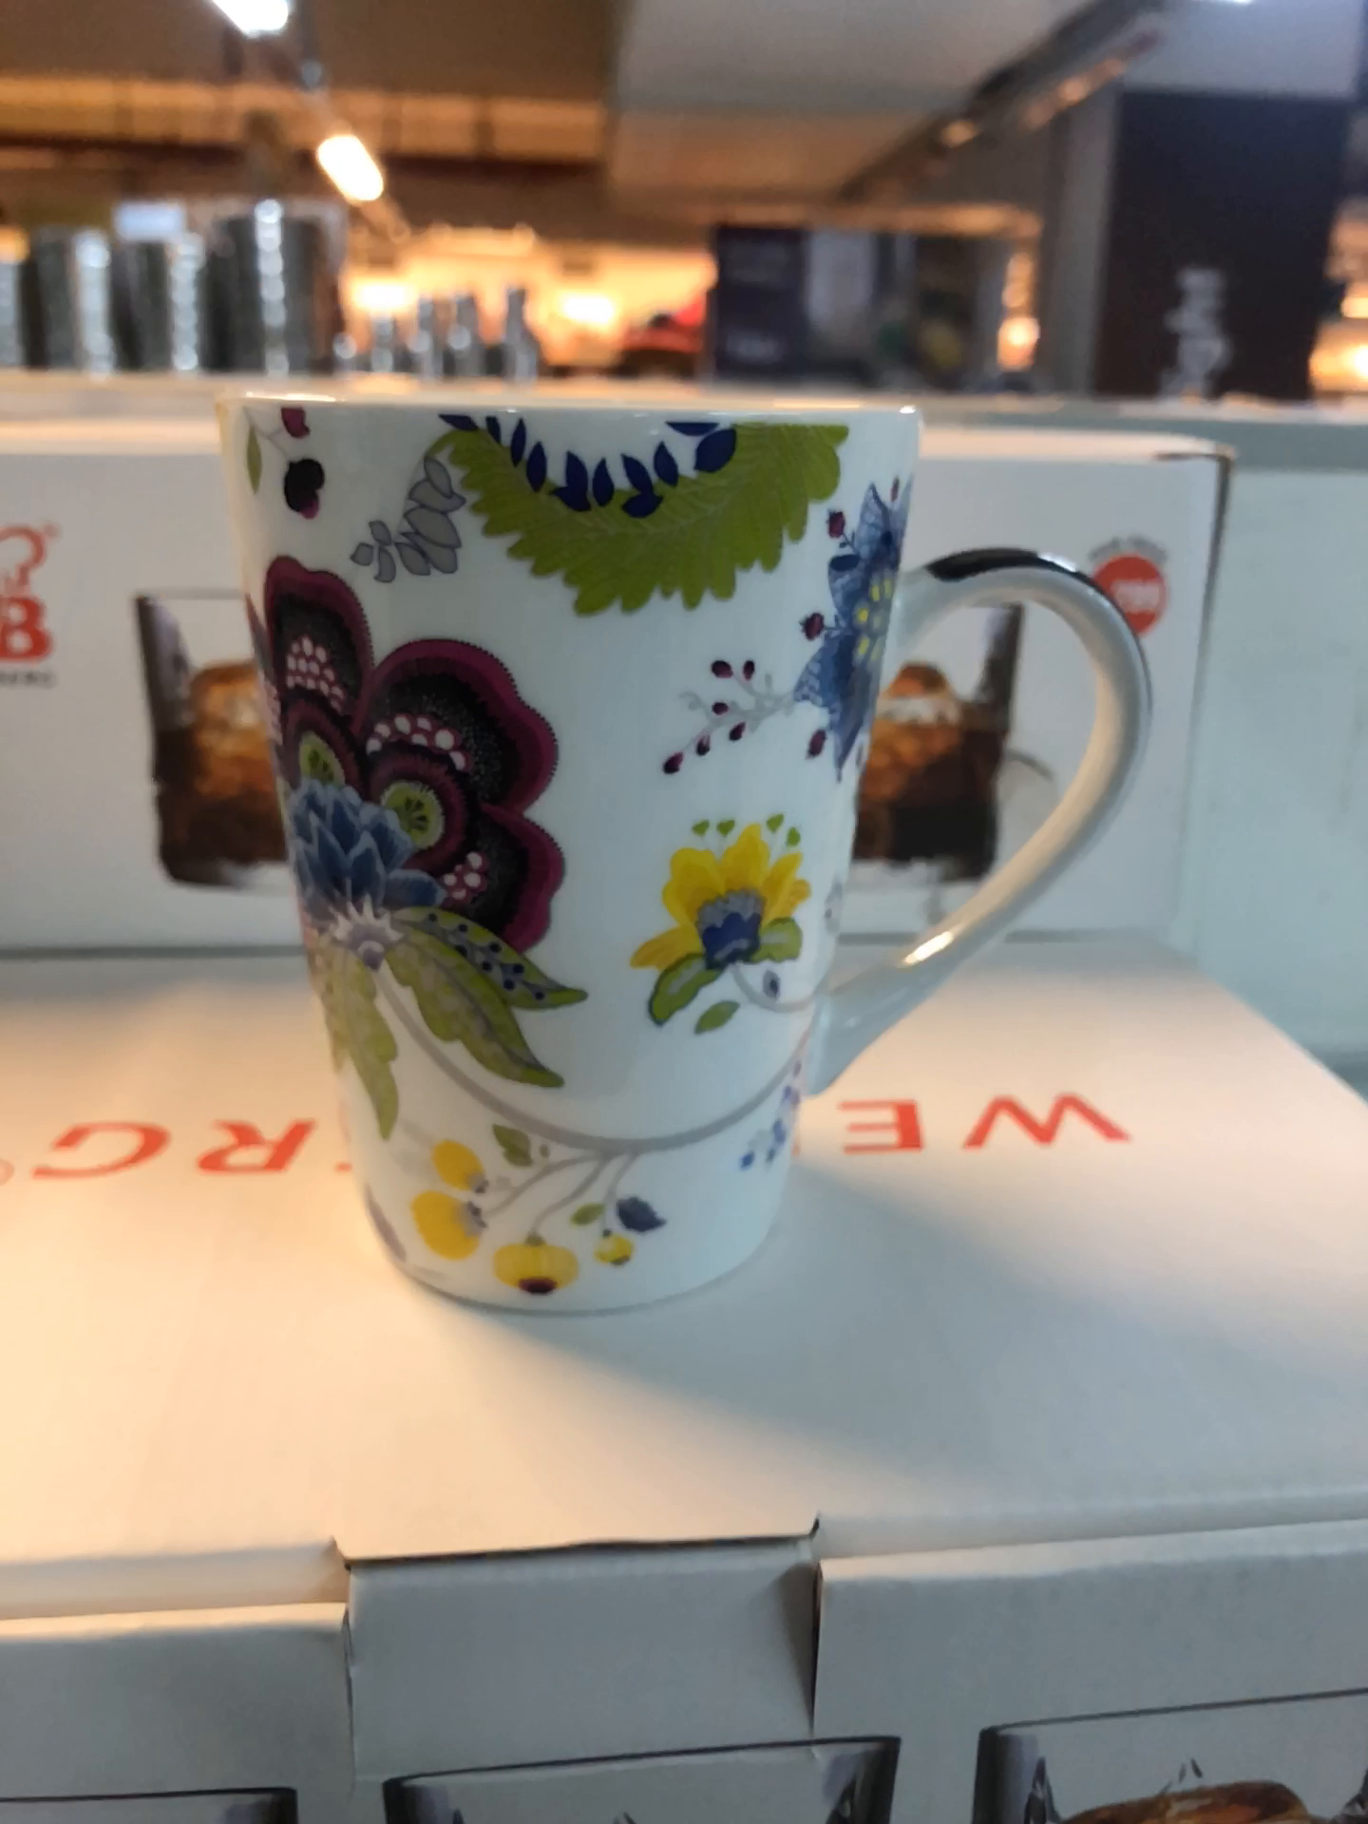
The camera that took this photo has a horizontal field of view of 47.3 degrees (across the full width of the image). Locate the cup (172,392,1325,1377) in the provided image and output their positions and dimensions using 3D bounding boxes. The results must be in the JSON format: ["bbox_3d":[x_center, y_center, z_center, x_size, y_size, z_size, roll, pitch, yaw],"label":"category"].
[{"bbox_3d":[-0.001,-0.013,0.205,0.120,0.100,0.080,-3,18,-16],"label":"cup"}]
